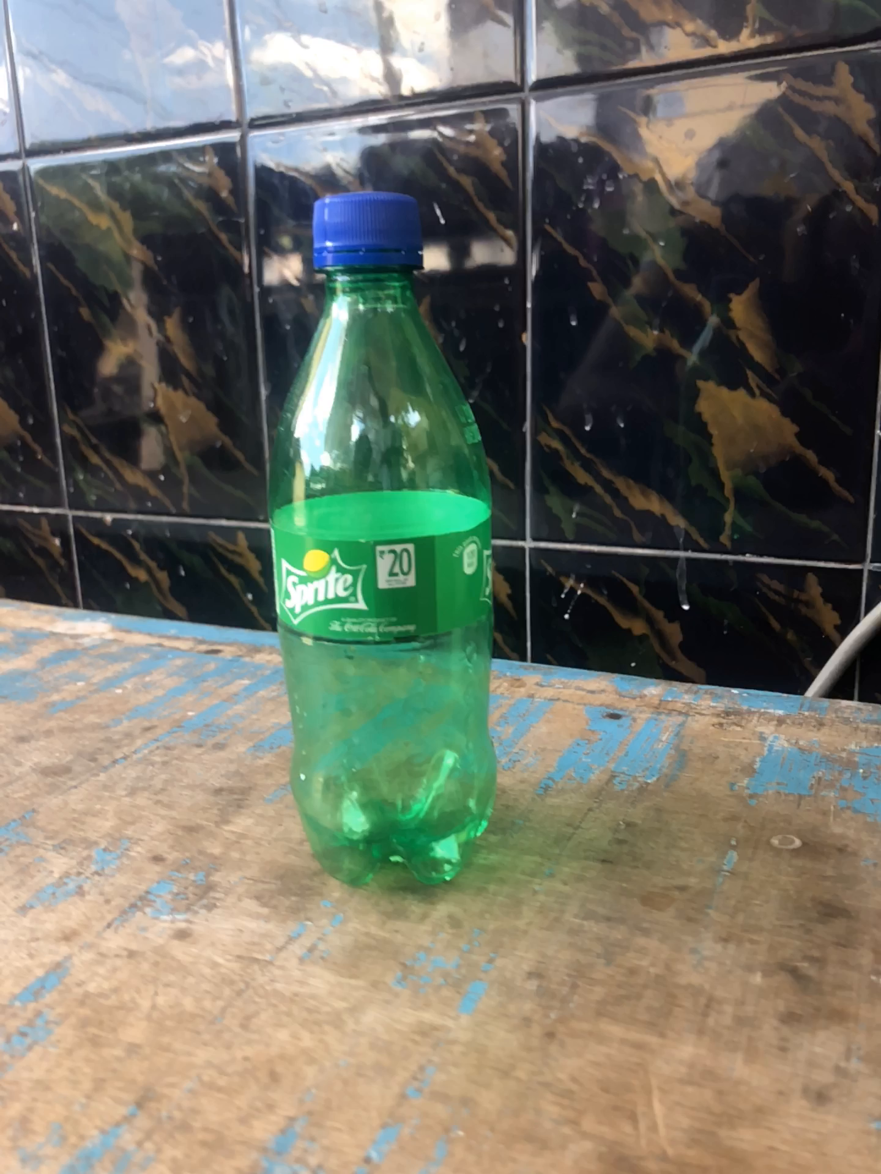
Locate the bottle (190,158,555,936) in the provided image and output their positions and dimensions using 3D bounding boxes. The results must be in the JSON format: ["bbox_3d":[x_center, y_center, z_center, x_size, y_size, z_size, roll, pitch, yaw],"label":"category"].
[{"bbox_3d":[-0.012,-0.010,0.233,0.060,0.159,0.050,7,17,32],"label":"bottle"}]
